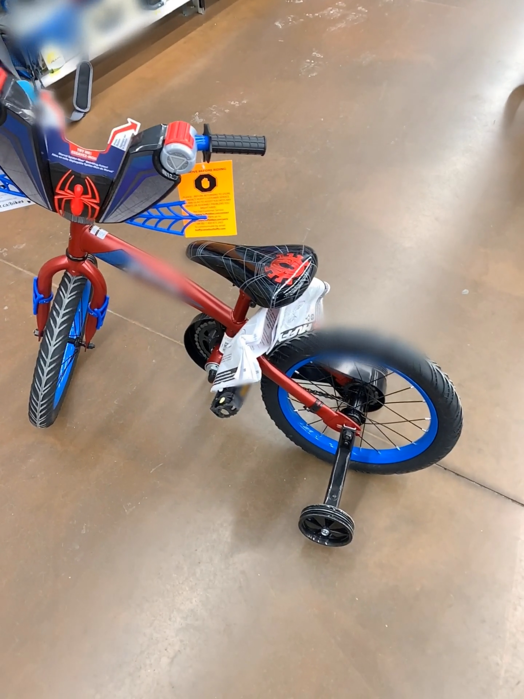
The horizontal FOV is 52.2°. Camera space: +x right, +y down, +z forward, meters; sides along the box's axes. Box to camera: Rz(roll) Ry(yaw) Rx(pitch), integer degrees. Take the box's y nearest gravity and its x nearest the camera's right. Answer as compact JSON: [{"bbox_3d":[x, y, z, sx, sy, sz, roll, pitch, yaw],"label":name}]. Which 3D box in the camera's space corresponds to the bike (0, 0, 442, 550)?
[{"bbox_3d":[-0.121,-0.075,0.791,0.565,0.709,0.477,6,51,7],"label":"bike"}]
